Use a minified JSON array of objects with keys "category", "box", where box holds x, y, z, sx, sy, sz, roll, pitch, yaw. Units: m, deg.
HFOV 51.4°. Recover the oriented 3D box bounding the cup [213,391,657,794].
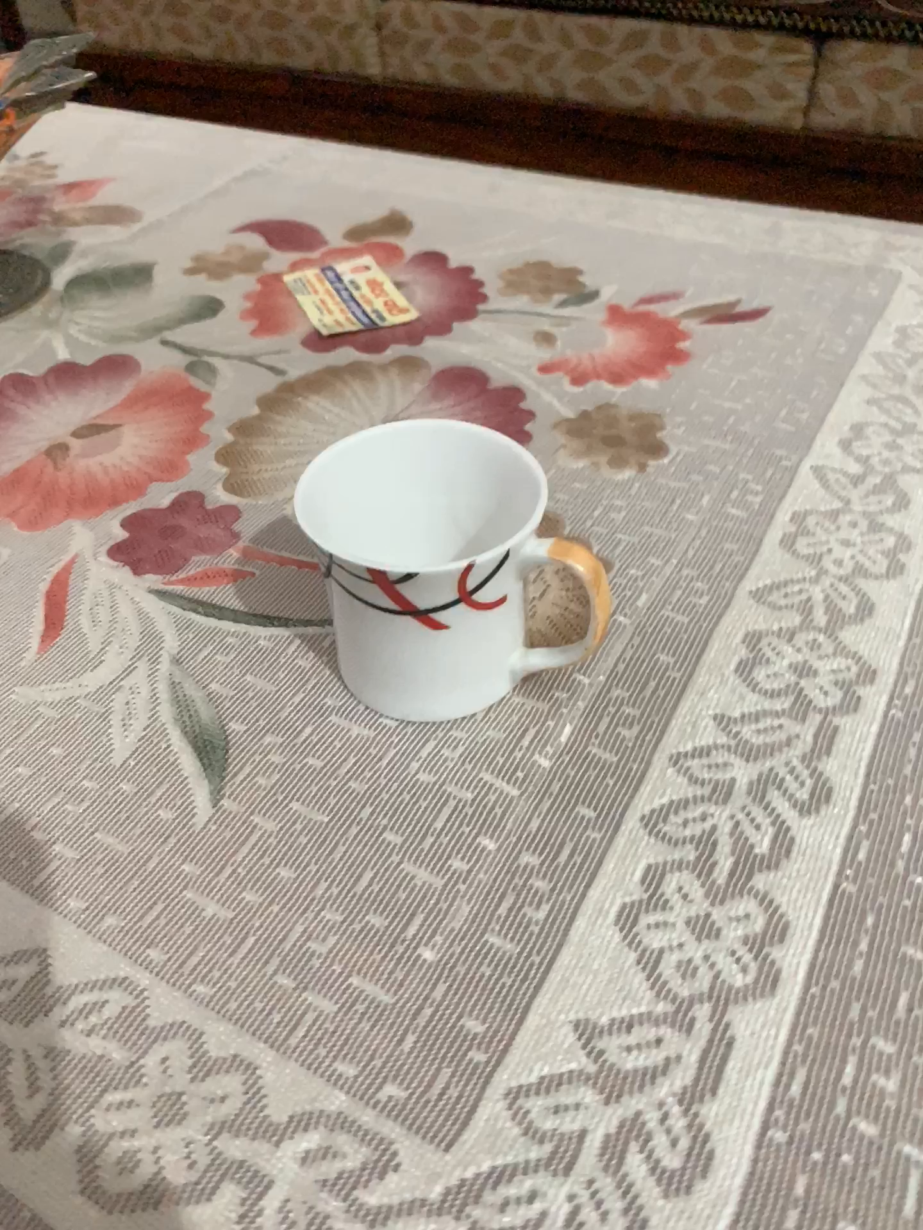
[{"category":"cup","box":[-0.003,-0.010,0.260,0.090,0.060,0.070,15,46,19]}]
